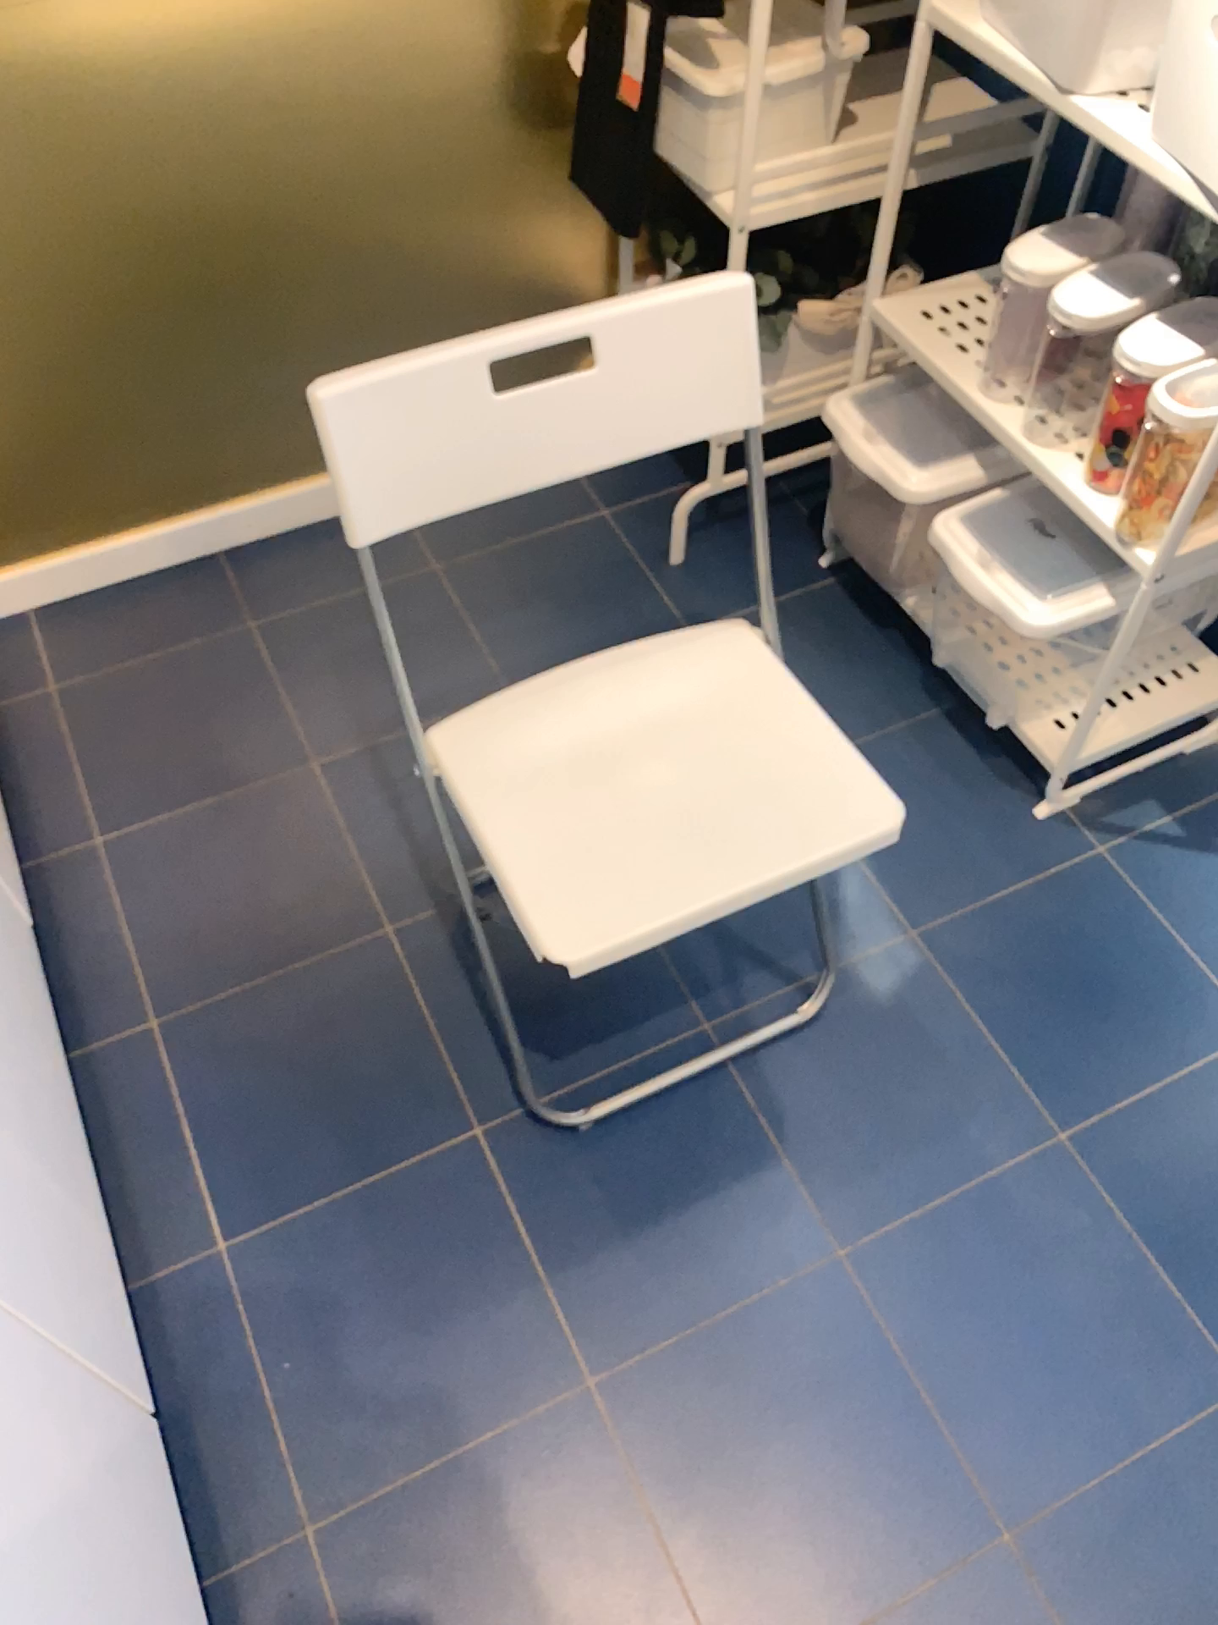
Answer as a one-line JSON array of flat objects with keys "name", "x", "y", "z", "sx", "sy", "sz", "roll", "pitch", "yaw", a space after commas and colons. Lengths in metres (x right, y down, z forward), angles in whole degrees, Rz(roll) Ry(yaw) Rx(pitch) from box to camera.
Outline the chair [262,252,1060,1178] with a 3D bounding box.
[{"name": "chair", "x": 0.019, "y": -0.060, "z": 1.251, "sx": 0.460, "sy": 0.708, "sz": 0.451, "roll": -21, "pitch": 56, "yaw": -15}]
